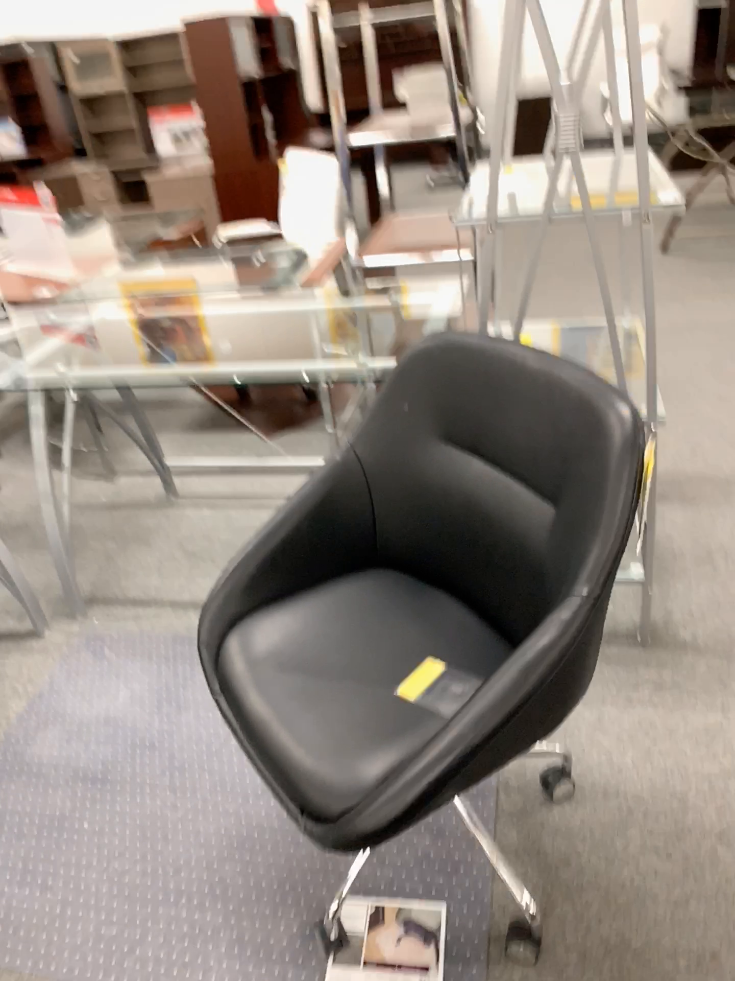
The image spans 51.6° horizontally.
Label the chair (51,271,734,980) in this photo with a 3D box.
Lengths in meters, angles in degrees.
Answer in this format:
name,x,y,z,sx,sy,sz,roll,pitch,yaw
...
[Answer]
name,x,y,z,sx,sy,sz,roll,pitch,yaw
chair,0.042,0.228,1.196,0.620,0.886,0.673,-24,34,-26
